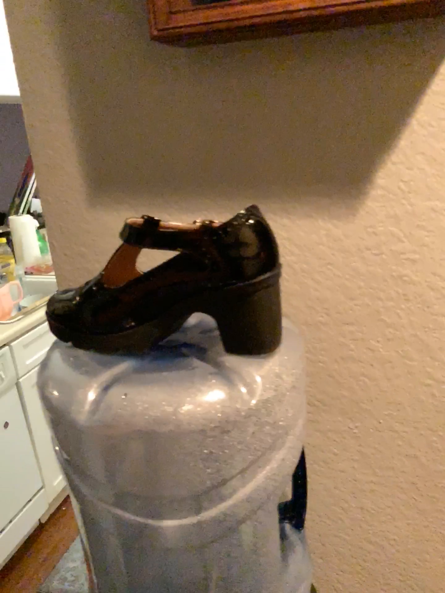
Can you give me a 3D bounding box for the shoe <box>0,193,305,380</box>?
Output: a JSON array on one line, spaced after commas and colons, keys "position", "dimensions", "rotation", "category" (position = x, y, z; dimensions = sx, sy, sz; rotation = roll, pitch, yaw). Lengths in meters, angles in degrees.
[{"position": [-0.064, -0.023, 0.454], "dimensions": [0.250, 0.120, 0.130], "rotation": [4, 21, 23], "category": "shoe"}]
